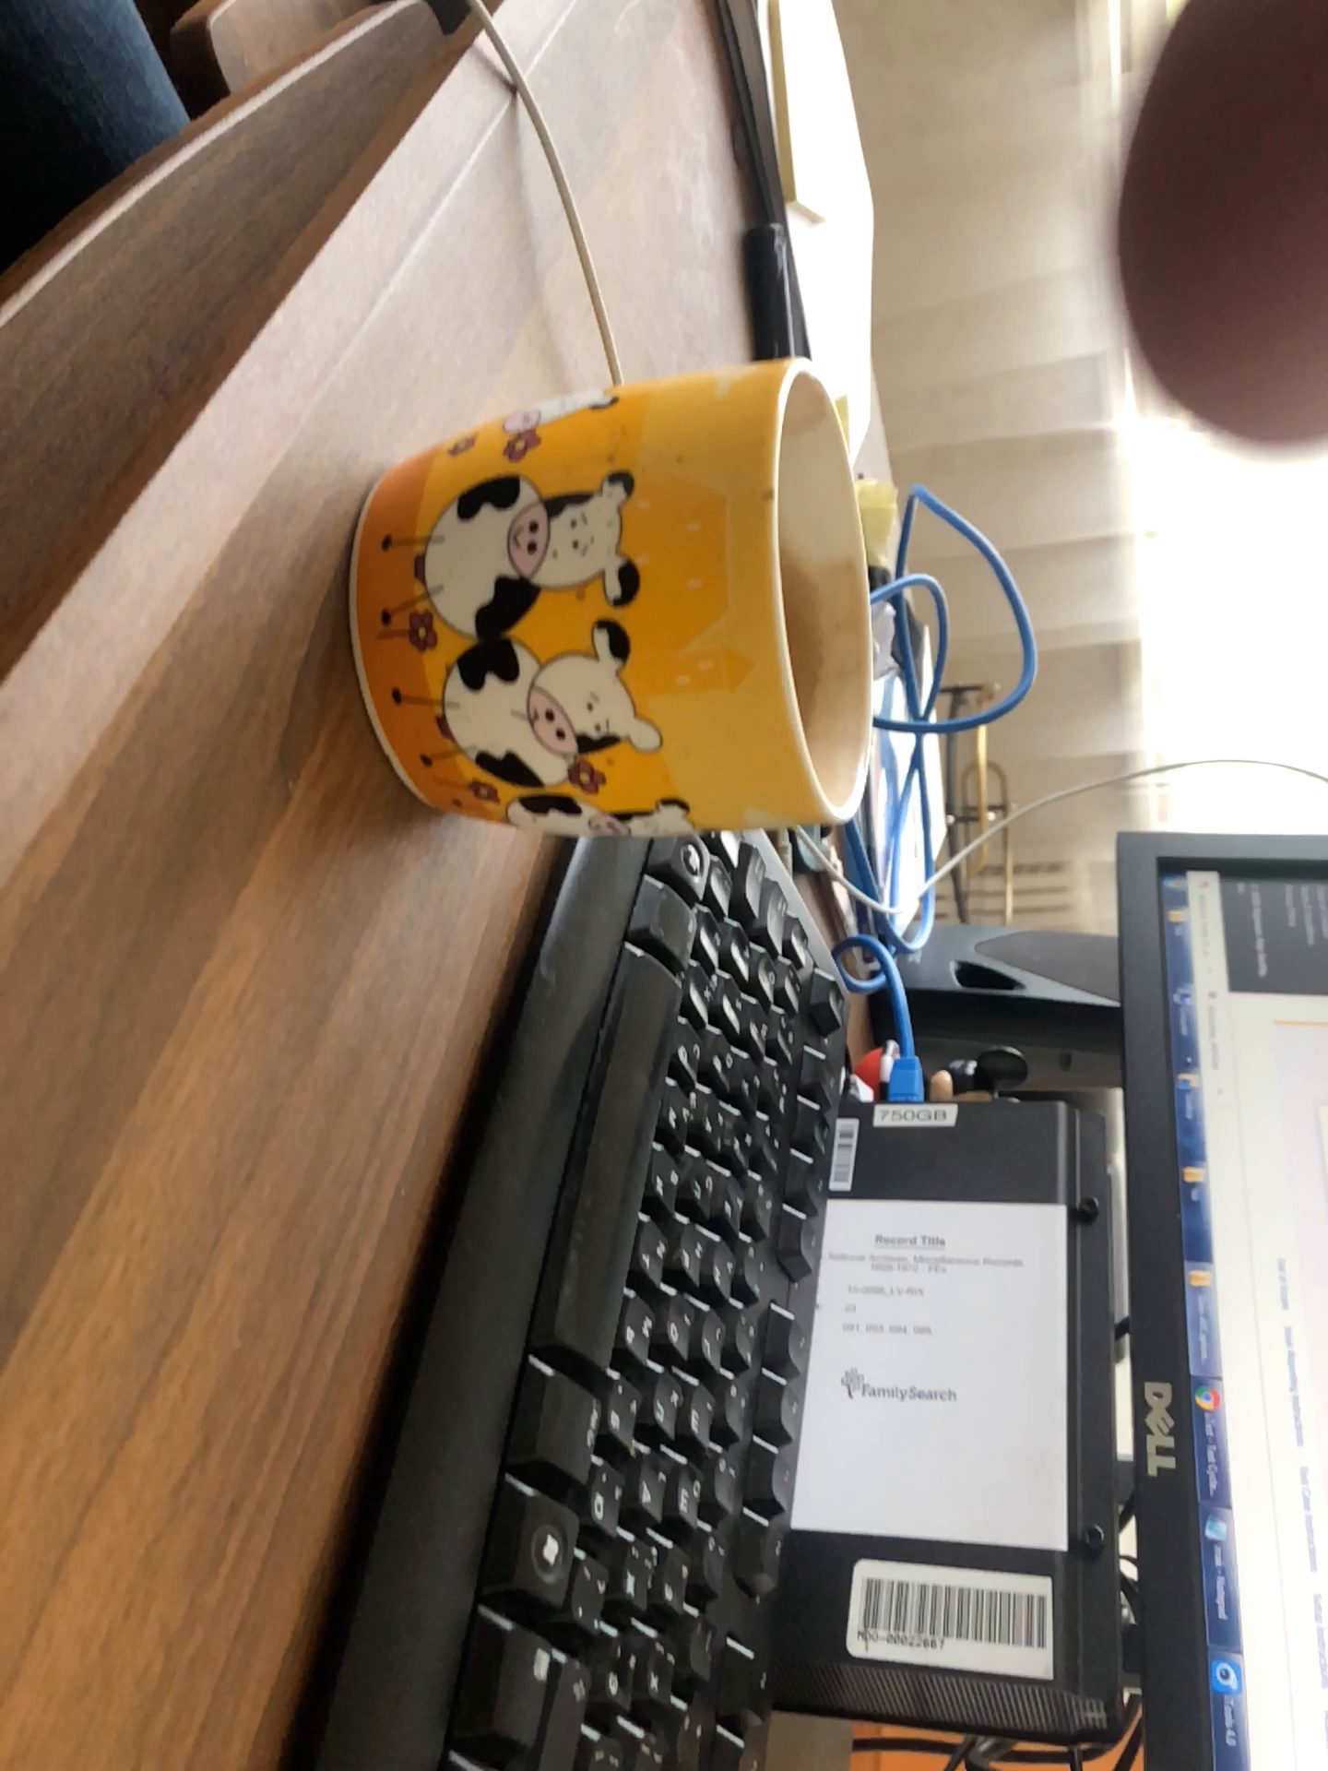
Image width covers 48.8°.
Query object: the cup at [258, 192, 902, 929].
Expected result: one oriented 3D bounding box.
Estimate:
[{"bbox_3d":[-0.006,-0.073,0.334,0.092,0.095,0.135,68,26,-44],"label":"cup"}]
